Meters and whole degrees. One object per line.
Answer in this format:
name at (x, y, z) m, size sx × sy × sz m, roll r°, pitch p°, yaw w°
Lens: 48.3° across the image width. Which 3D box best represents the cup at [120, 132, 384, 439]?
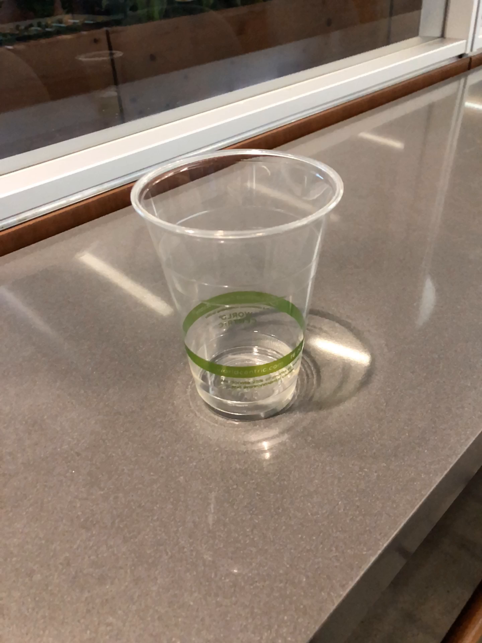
cup at (0.000, -0.024, 0.281) m, size 0.100 × 0.109 × 0.101 m, roll -3°, pitch 35°, yaw 2°
